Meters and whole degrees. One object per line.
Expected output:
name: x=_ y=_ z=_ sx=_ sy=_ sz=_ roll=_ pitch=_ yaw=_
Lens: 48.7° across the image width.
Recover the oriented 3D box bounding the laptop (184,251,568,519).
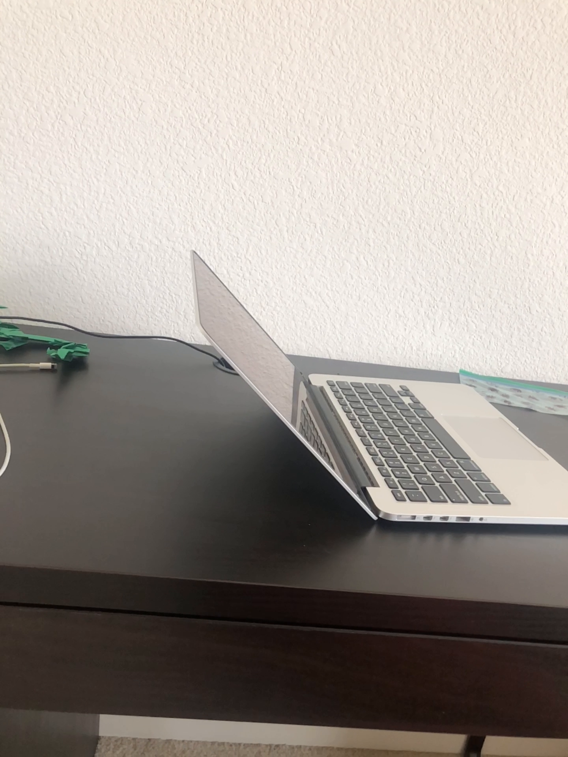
laptop: x=0.091 y=-0.013 z=0.619 sx=0.362 sy=0.133 sz=0.310 roll=4 pitch=20 yaw=-10
